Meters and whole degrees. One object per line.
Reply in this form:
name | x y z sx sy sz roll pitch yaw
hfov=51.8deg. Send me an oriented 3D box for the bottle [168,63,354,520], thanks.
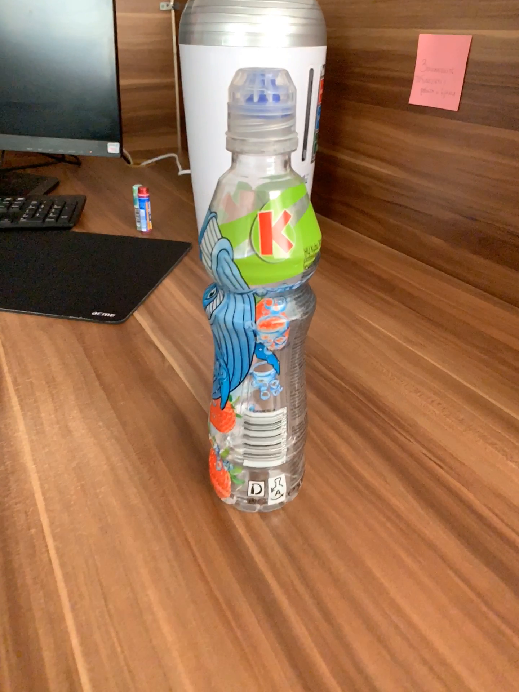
bottle | -0.003 -0.017 0.292 0.070 0.239 0.070 1 30 0
